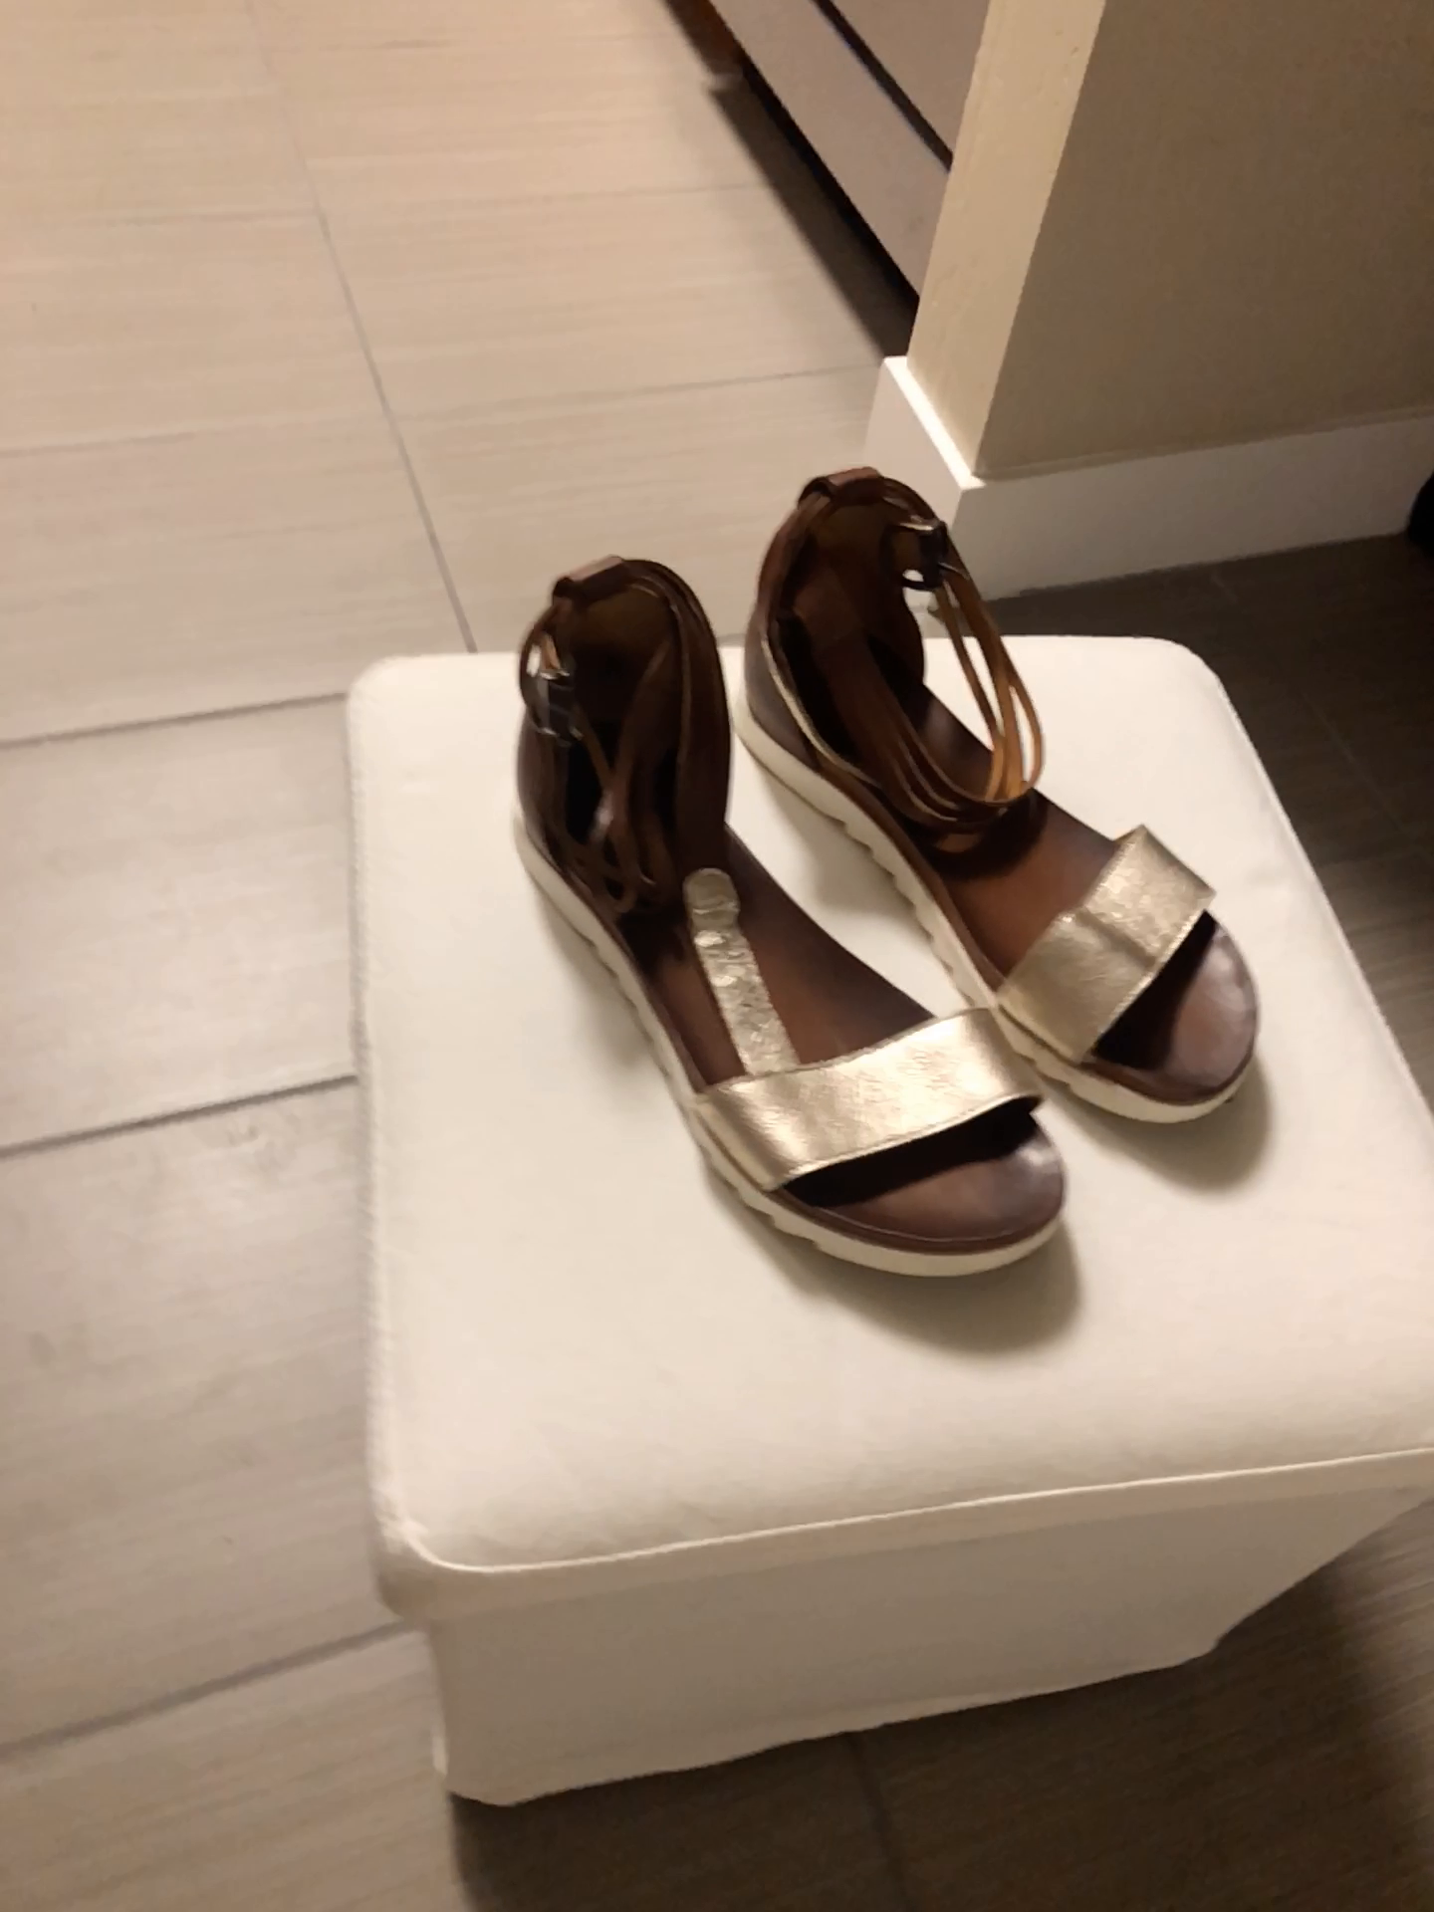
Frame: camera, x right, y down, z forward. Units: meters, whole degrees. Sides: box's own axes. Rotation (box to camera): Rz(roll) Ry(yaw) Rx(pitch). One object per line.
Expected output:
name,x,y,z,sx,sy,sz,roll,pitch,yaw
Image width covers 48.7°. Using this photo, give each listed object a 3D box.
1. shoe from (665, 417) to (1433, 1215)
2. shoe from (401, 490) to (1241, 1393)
shoe,0.104,-0.059,0.542,0.110,0.090,0.260,-26,62,-24
shoe,0.016,-0.017,0.491,0.110,0.090,0.260,-26,62,-24
